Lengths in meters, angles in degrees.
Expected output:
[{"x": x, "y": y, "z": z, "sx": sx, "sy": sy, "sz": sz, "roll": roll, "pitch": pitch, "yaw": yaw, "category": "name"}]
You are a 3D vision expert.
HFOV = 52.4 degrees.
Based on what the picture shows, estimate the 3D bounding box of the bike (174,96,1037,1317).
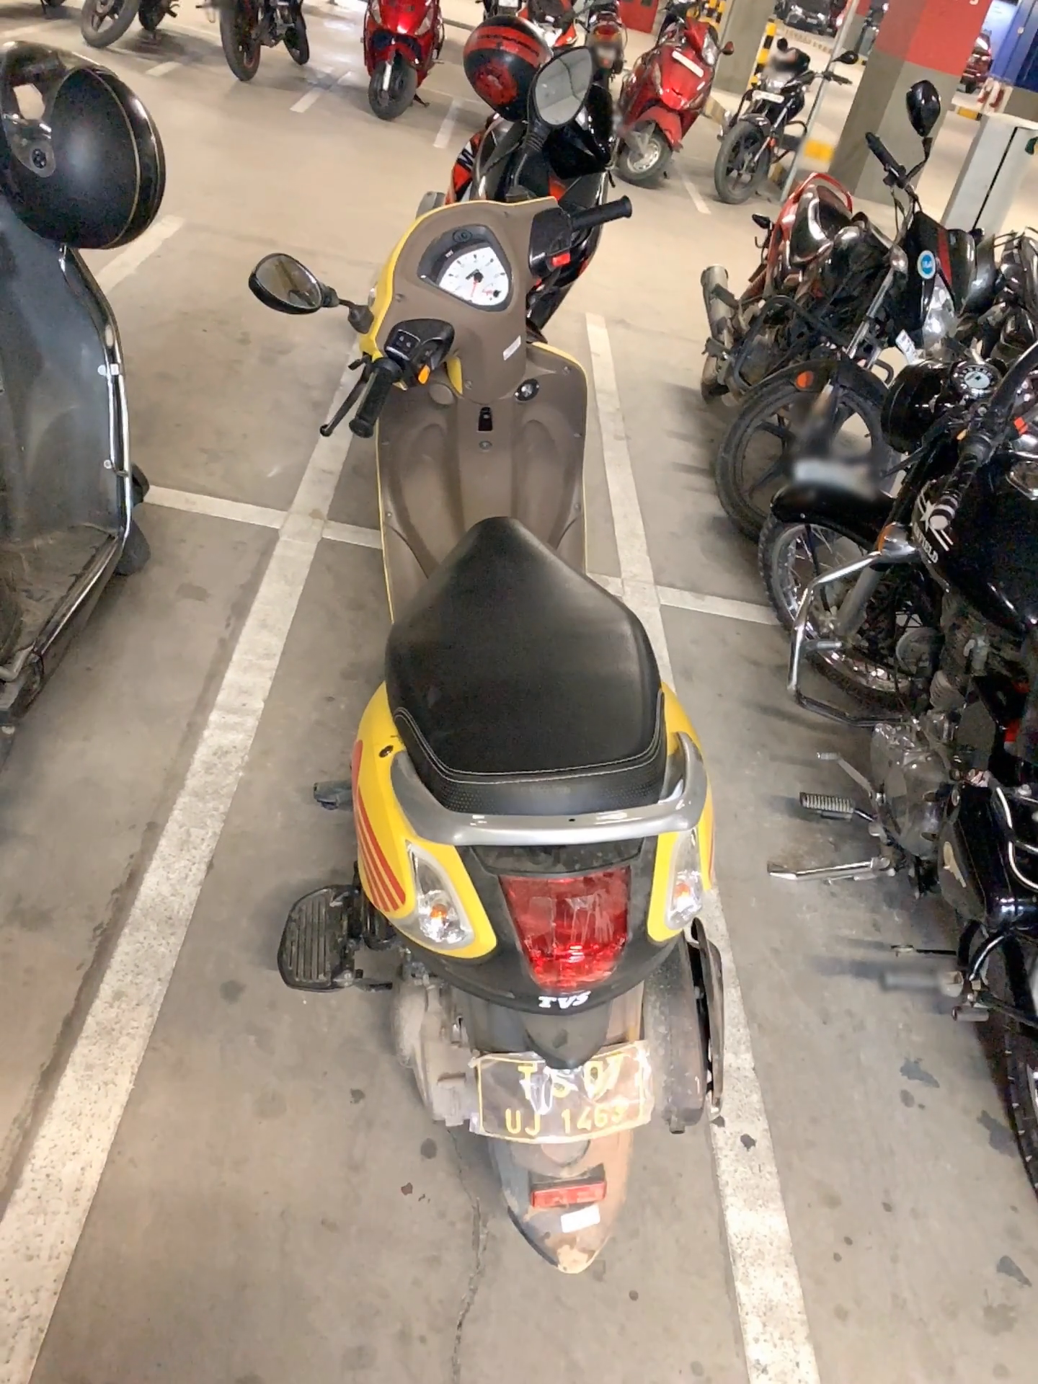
[{"x": -0.089, "y": -0.186, "z": 1.674, "sx": 0.566, "sy": 1.048, "sz": 1.713, "roll": 7, "pitch": 35, "yaw": -12, "category": "bike"}]
